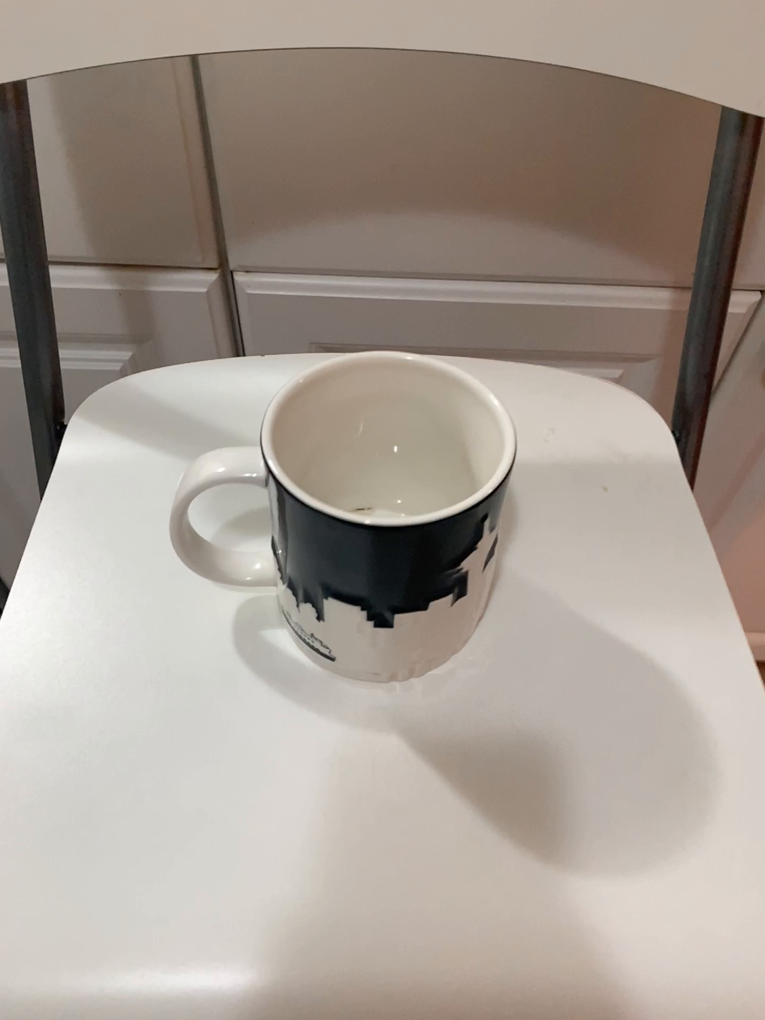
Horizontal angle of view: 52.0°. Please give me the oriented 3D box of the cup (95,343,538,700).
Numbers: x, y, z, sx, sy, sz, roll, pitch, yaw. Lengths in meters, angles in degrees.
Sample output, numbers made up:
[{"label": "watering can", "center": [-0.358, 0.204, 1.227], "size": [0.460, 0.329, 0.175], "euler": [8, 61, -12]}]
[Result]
[{"label": "cup", "center": [-0.021, 0.007, 0.325], "size": [0.143, 0.100, 0.104], "euler": [2, 54, 0]}]
